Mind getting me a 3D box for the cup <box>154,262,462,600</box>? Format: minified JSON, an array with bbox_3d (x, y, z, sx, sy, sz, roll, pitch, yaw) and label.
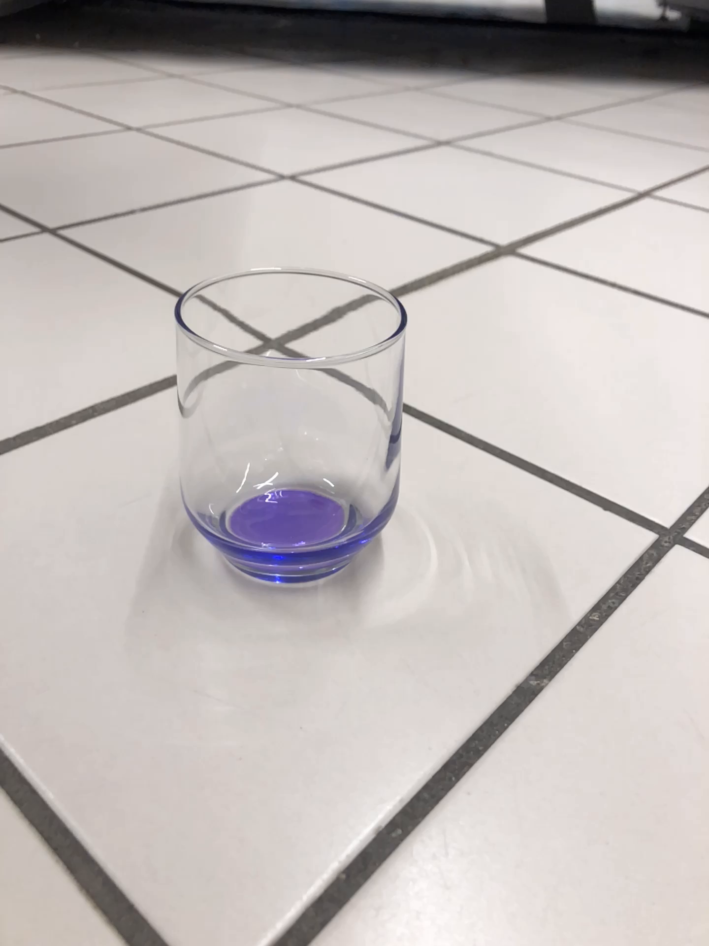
[{"bbox_3d":[-0.018,-0.016,0.226,0.069,0.063,0.071,2,34,-2],"label":"cup"}]
